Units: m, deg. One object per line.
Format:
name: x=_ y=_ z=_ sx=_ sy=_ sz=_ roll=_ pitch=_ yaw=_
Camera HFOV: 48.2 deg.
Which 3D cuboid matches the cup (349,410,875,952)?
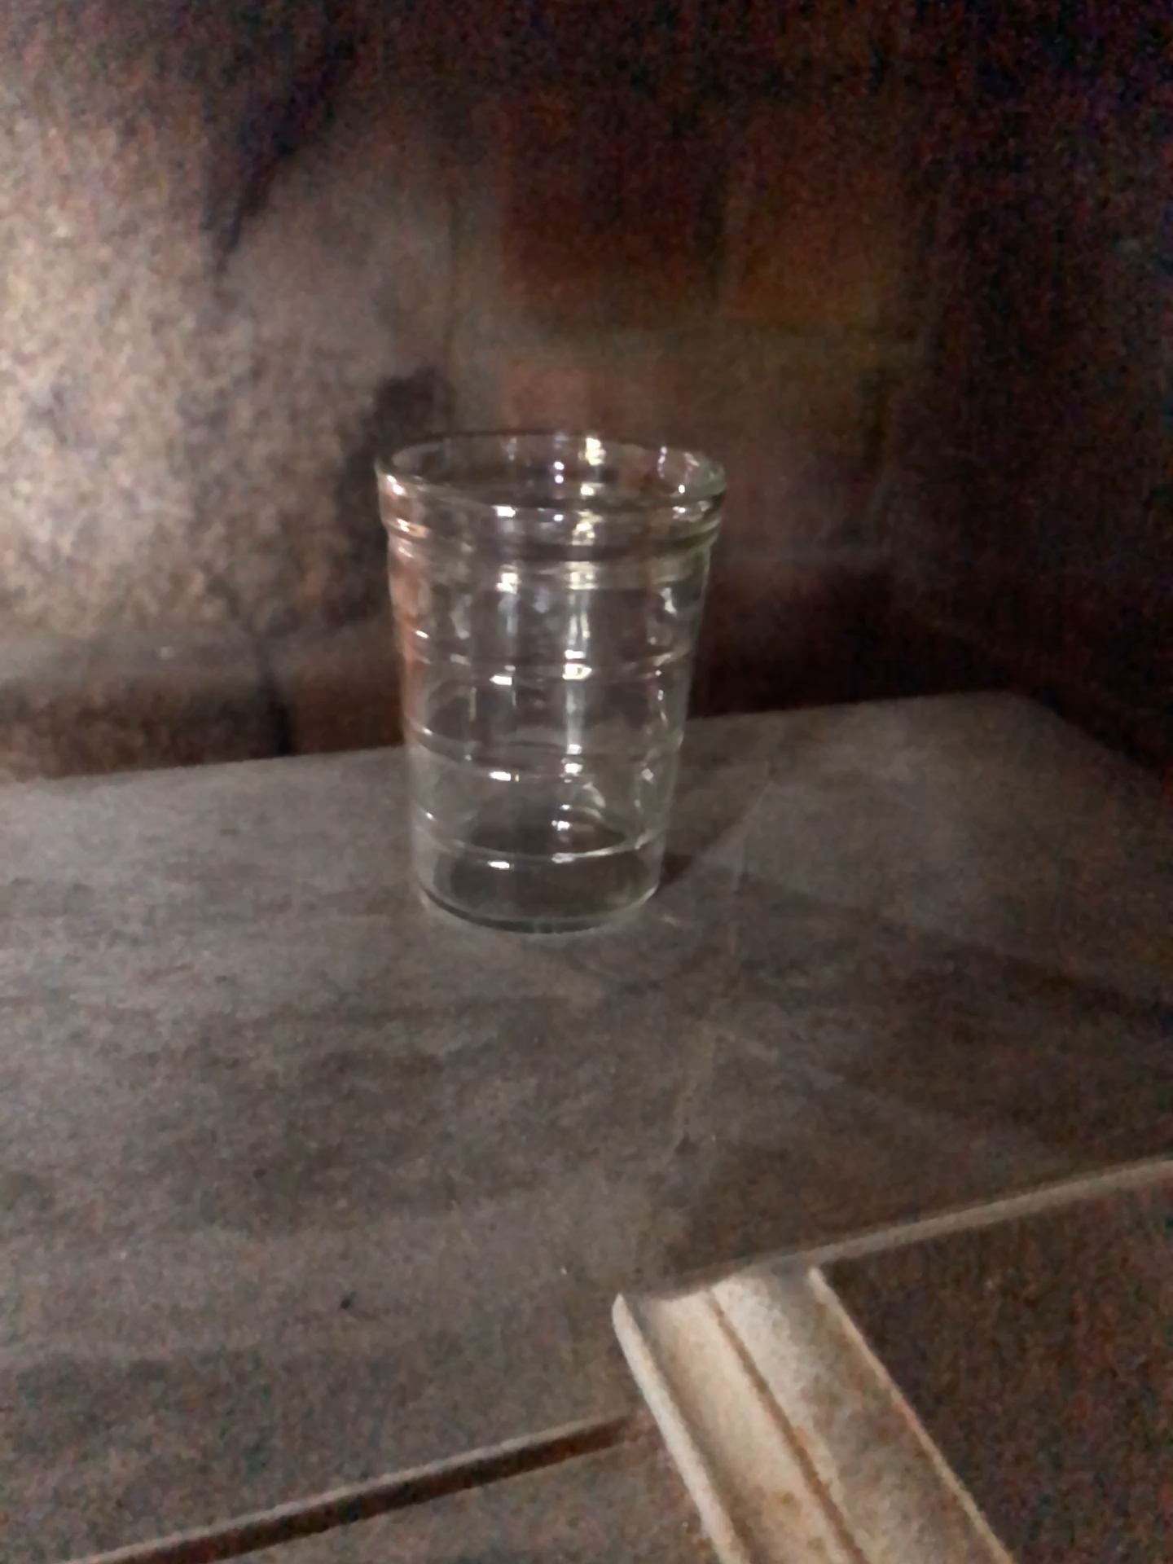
cup: x=0.003 y=-0.026 z=0.262 sx=0.070 sy=0.080 sz=0.070 roll=2 pitch=23 yaw=-1
